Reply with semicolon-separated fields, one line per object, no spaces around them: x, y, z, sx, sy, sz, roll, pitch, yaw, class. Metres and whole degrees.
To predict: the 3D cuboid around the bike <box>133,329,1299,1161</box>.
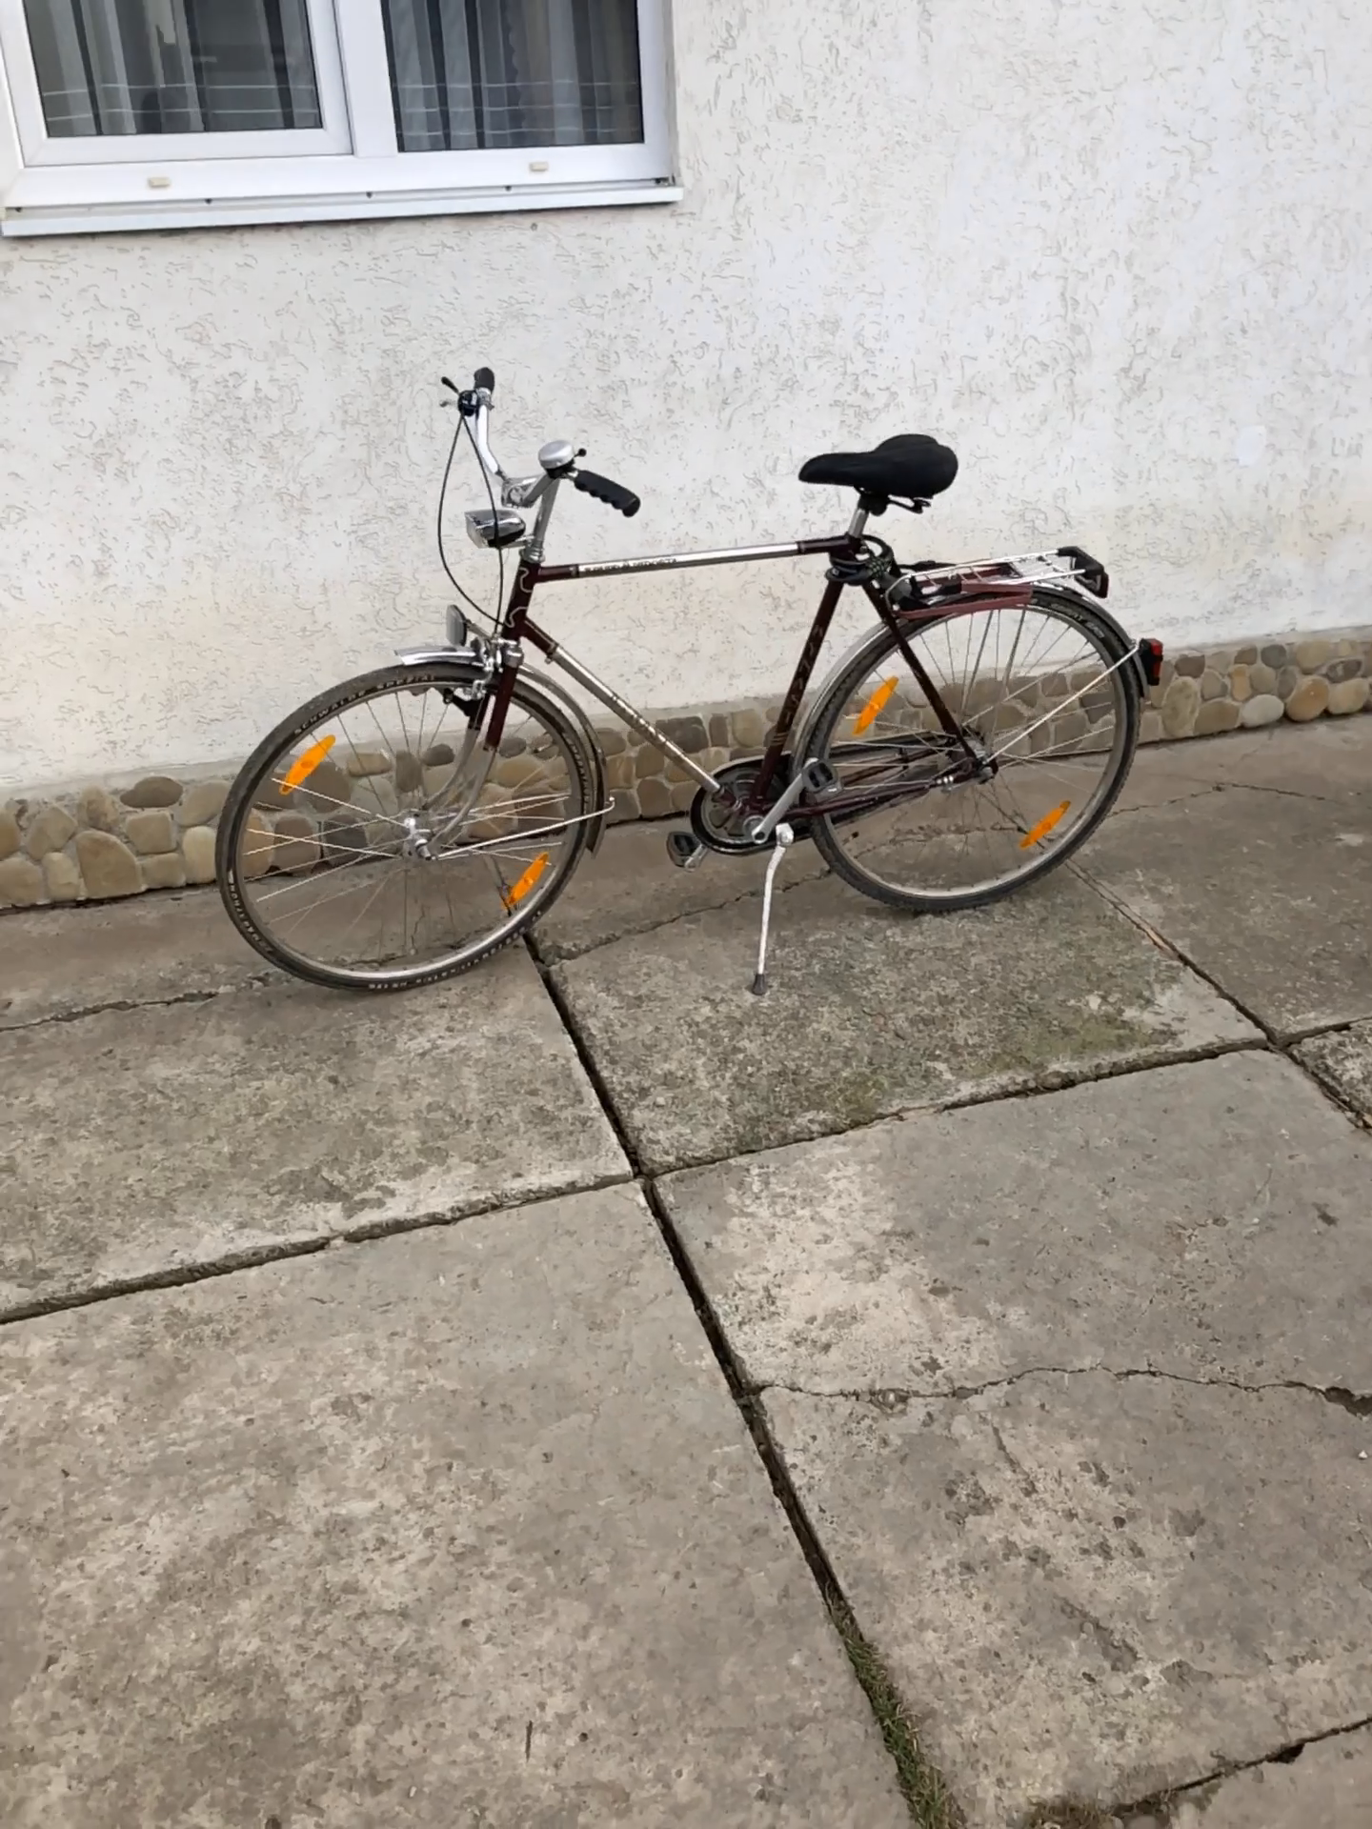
0.067;-0.355;2.594;1.711;1.055;0.599;-10;29;-14;bike
